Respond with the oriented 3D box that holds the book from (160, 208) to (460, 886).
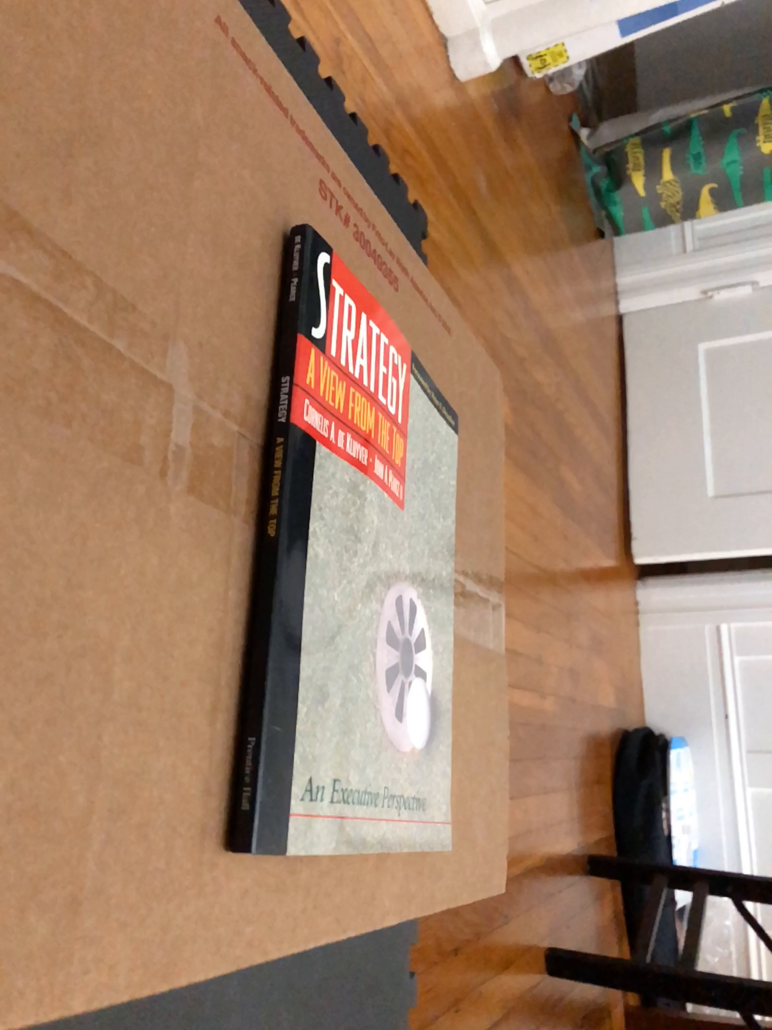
[{"bbox_3d":[-0.013,0.025,0.367,0.181,0.020,0.240,38,51,-57],"label":"book"}]
